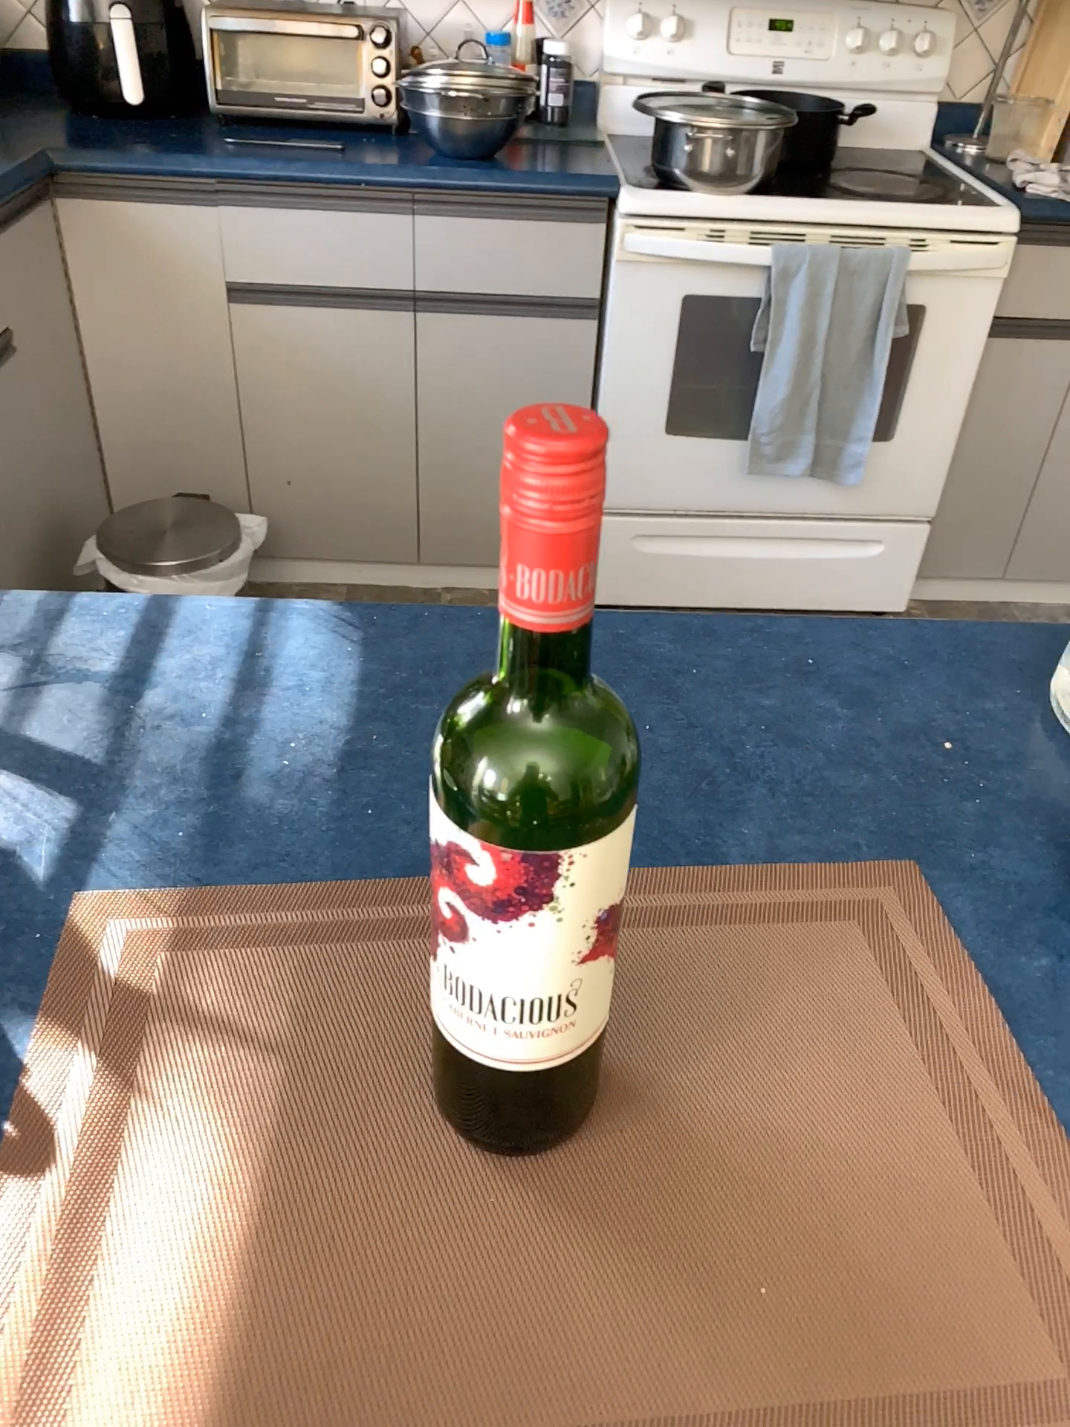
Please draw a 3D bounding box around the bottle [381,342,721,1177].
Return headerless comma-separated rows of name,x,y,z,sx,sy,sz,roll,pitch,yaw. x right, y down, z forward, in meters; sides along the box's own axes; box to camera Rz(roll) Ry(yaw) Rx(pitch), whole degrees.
bottle,0.001,0.036,0.384,0.080,0.297,0.081,2,36,-2
